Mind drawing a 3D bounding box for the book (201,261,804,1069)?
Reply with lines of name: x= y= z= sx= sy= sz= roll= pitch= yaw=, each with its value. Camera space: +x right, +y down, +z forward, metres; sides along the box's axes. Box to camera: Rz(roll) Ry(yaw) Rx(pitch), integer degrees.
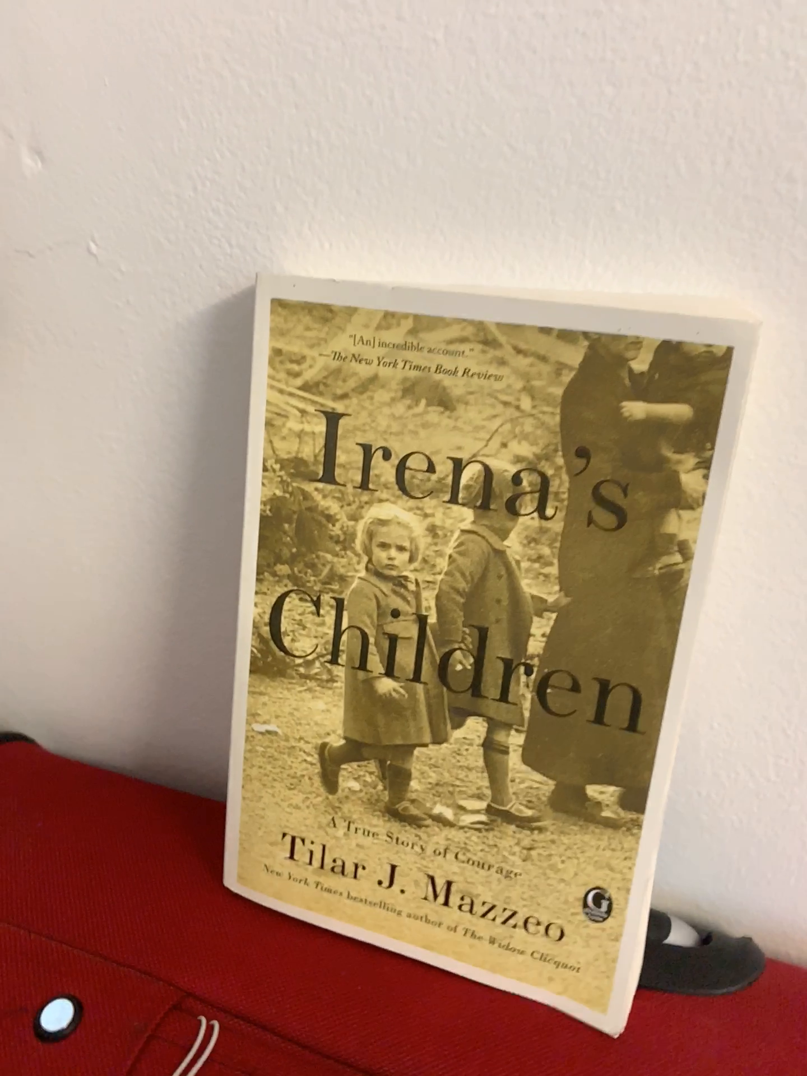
book: x=0.015 y=0.035 z=0.271 sx=0.170 sy=0.229 sz=0.030 roll=9 pitch=16 yaw=21
